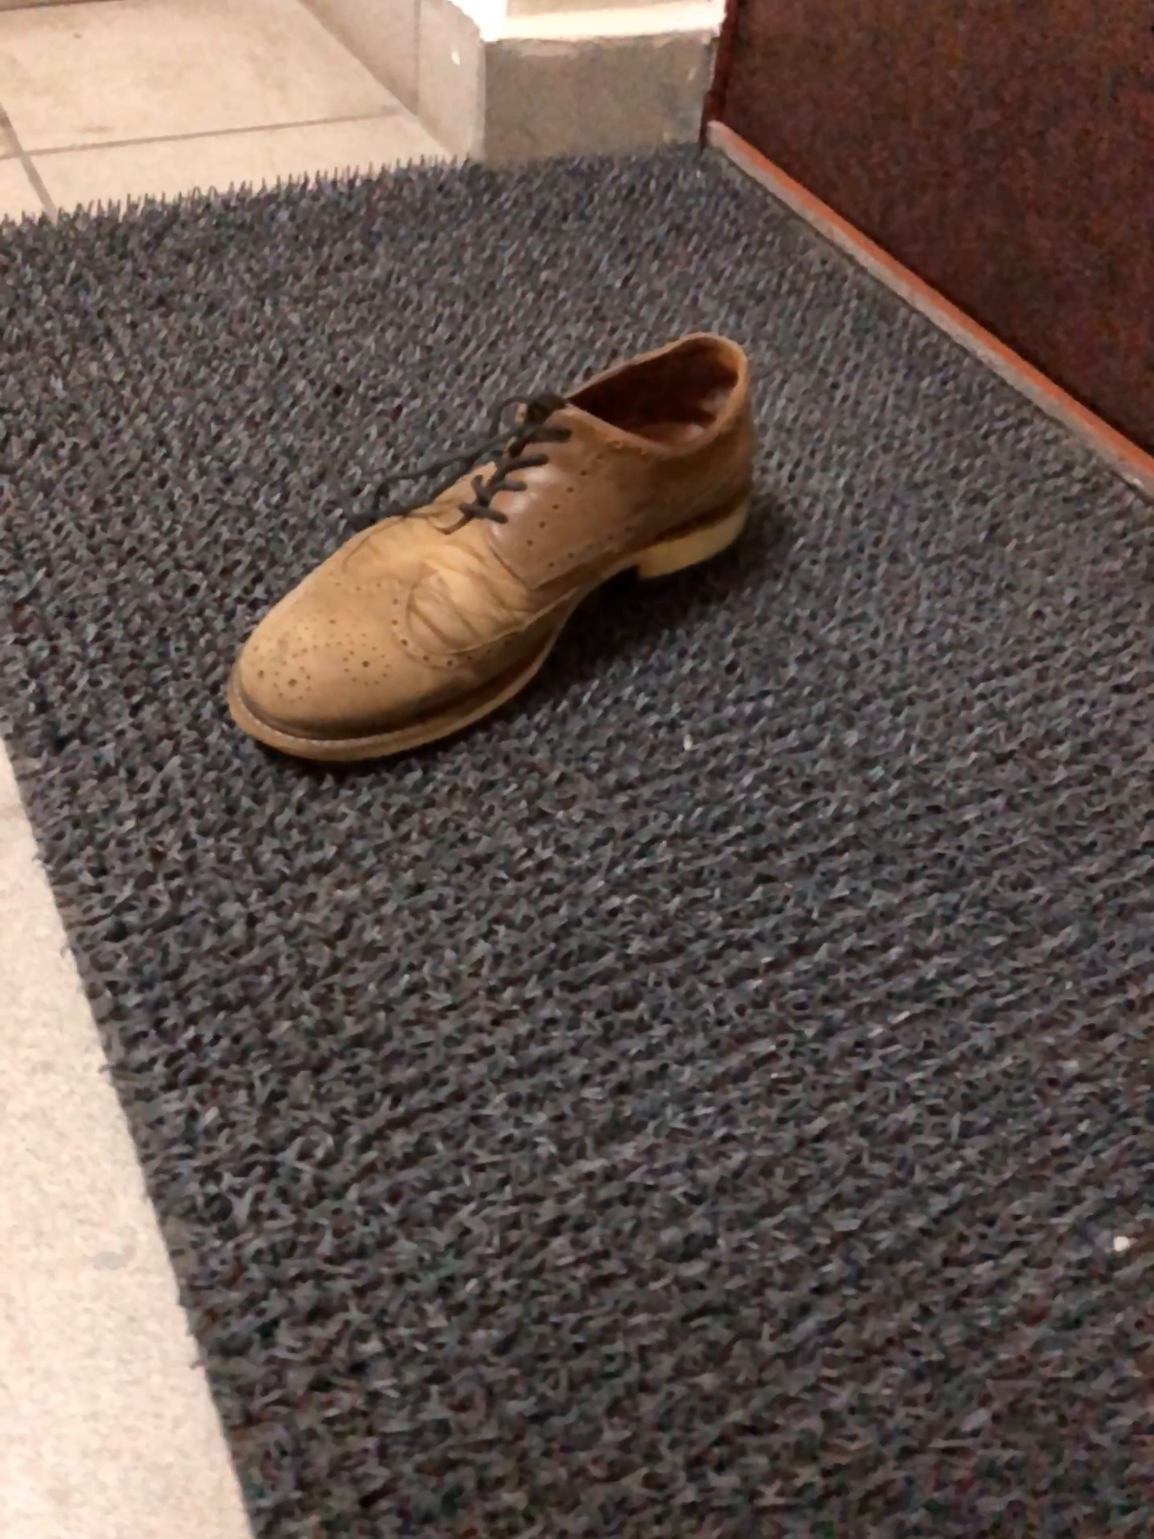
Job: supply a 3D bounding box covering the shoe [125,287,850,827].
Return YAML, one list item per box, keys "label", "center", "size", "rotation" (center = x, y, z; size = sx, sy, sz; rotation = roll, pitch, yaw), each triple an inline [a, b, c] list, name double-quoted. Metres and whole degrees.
- label: "shoe"
  center: [-0.028, -0.109, 0.568]
  size: [0.301, 0.099, 0.110]
  rotation: [-30, 58, -30]
